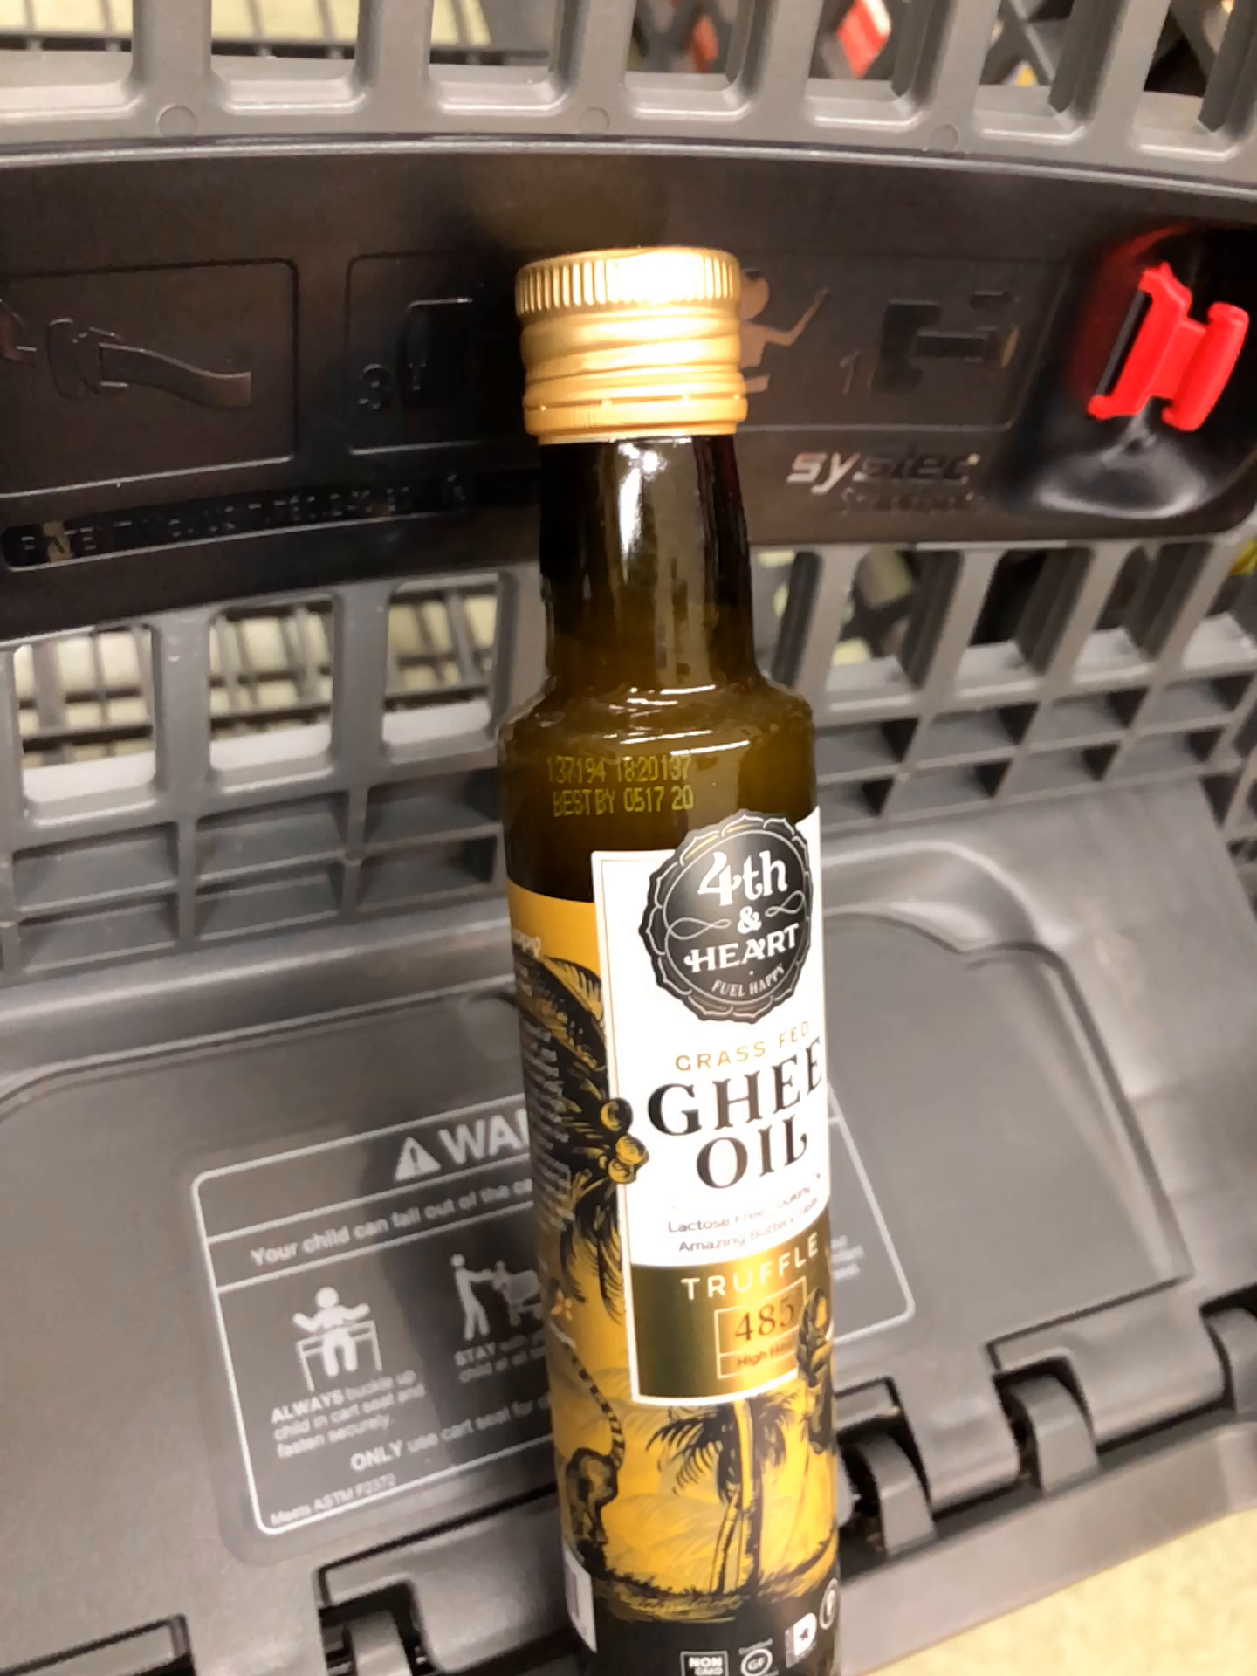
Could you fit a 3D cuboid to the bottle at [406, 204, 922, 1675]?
[{"bbox_3d":[0.010,0.039,0.225,0.054,0.050,0.250,-10,107,-21],"label":"bottle"}]
